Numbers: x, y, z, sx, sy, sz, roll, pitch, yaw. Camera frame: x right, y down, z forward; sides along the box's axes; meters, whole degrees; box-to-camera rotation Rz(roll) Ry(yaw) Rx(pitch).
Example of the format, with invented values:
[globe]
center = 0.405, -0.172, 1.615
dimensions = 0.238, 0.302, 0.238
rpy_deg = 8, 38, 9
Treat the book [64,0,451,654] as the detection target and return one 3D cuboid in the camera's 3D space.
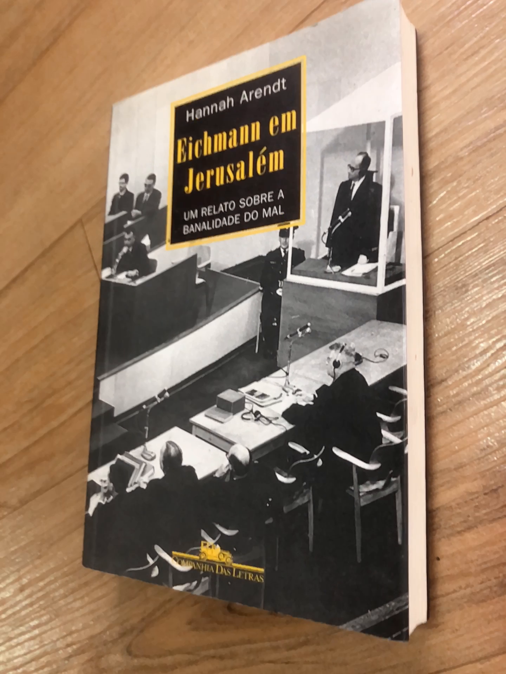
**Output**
[book]
center = -0.006, -0.010, 0.213
dimensions = 0.144, 0.023, 0.202
rpy_deg = -4, 79, 32
